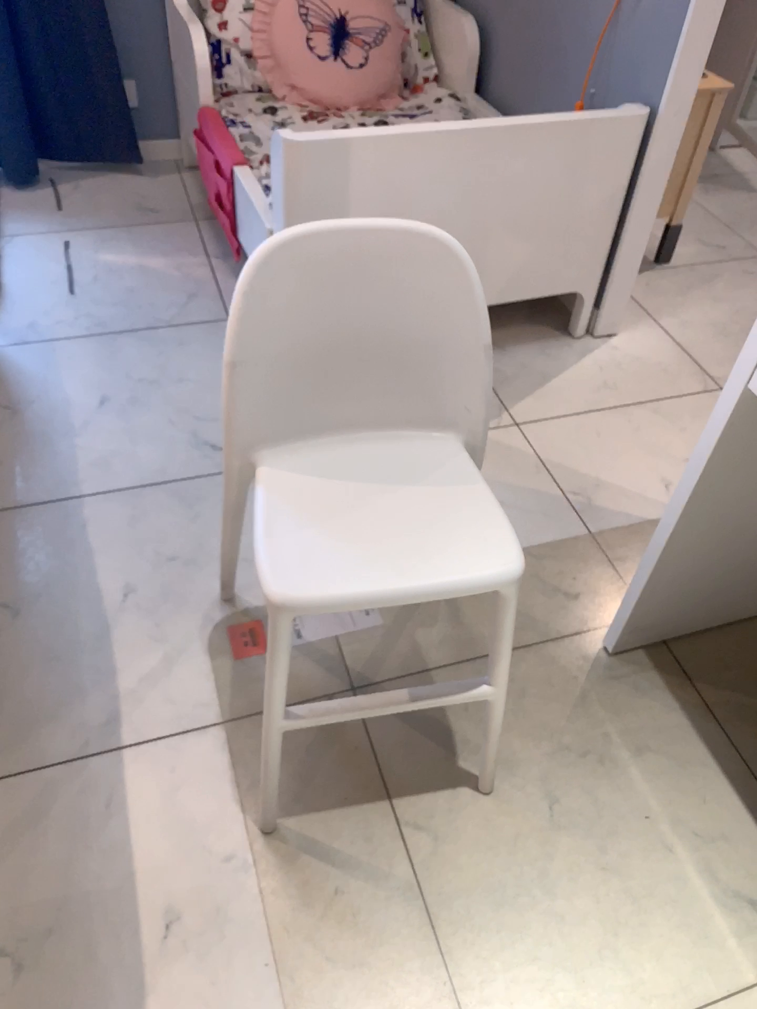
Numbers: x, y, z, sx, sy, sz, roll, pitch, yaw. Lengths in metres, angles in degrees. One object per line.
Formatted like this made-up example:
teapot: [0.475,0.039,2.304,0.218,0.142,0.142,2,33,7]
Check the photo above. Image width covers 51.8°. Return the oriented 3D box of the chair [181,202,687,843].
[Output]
chair: [-0.005,0.041,1.074,0.430,0.697,0.502,-6,46,-10]
